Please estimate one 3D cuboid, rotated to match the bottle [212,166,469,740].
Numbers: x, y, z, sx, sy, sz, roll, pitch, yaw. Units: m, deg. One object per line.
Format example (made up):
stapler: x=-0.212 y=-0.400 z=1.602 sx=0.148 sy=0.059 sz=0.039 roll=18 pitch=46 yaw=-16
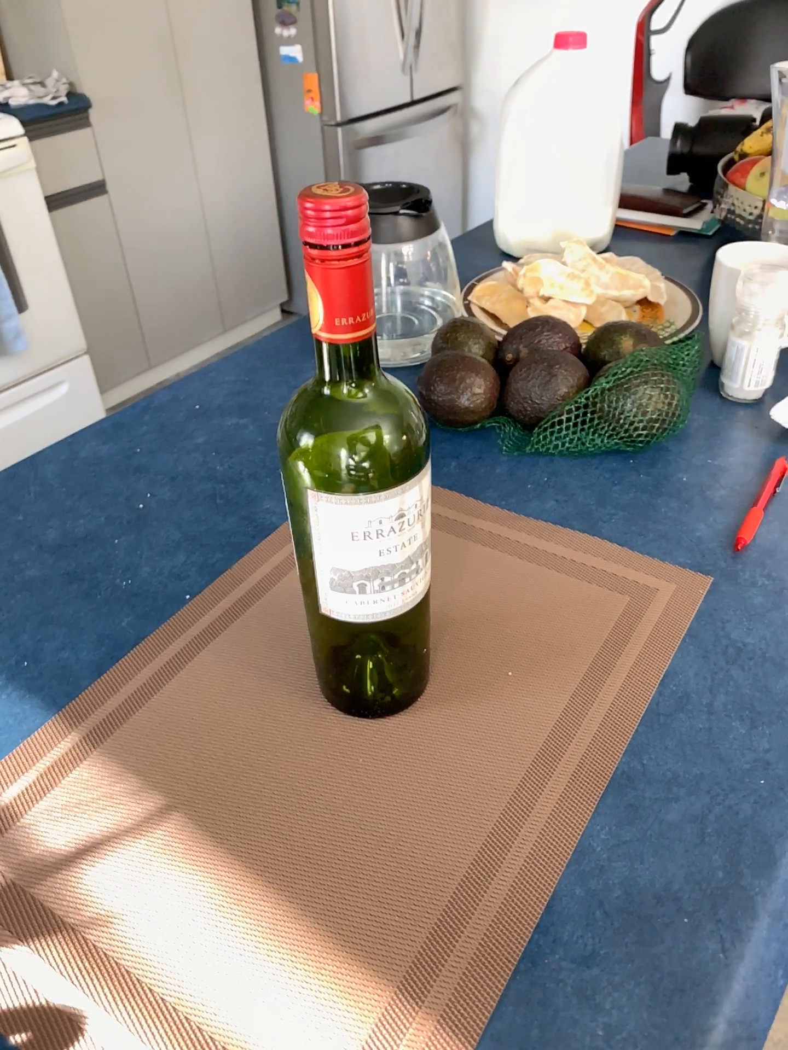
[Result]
bottle: x=-0.019 y=-0.023 z=0.416 sx=0.080 sy=0.277 sz=0.081 roll=-2 pitch=37 yaw=1
